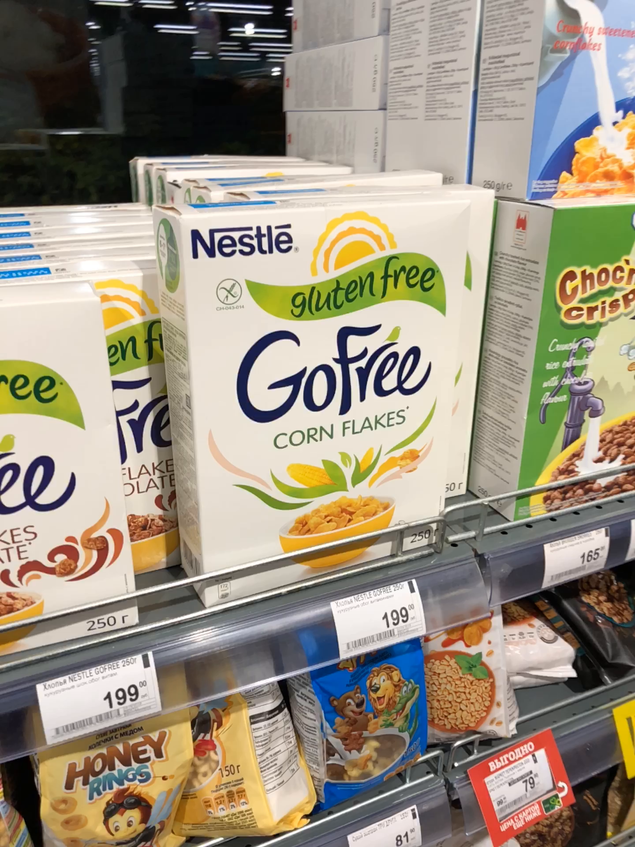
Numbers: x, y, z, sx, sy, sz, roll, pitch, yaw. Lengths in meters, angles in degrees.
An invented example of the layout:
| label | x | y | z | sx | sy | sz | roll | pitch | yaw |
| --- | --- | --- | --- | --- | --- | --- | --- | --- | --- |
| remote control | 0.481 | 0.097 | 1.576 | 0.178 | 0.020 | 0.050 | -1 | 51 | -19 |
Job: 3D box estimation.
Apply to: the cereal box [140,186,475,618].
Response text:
| label | x | y | z | sx | sy | sz | roll | pitch | yaw |
| --- | --- | --- | --- | --- | --- | --- | --- | --- | --- |
| cereal box | -0.003 | -0.019 | 0.458 | 0.190 | 0.249 | 0.060 | -11 | 26 | -25 |
